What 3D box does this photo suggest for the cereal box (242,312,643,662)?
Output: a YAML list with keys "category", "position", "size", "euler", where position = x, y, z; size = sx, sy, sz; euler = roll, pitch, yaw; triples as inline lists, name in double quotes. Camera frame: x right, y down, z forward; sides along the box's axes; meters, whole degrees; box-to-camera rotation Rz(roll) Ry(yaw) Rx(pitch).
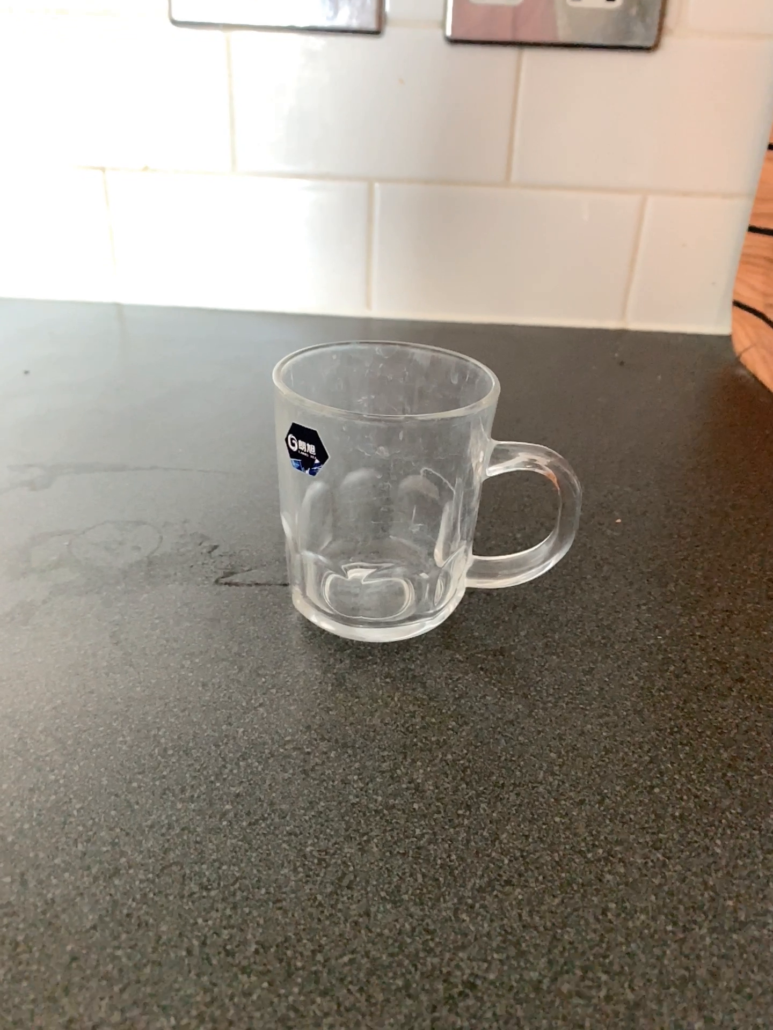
- category: "cereal box"
  position: [0.014, -0.013, 0.277]
  size: [0.110, 0.089, 0.081]
  euler: [2, 28, 0]
